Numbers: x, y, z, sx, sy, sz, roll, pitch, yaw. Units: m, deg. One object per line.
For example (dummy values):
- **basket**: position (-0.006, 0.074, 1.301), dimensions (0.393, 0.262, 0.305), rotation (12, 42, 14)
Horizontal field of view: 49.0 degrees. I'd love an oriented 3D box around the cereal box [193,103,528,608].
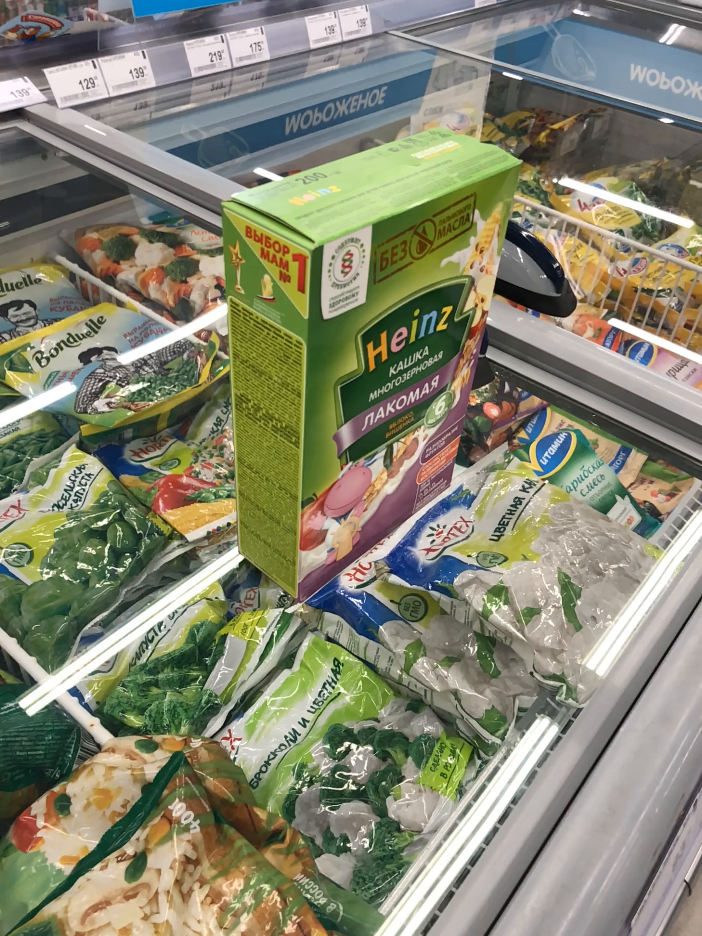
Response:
- **cereal box**: position (0.003, -0.049, 0.367), dimensions (0.050, 0.199, 0.140), rotation (34, 49, 28)
